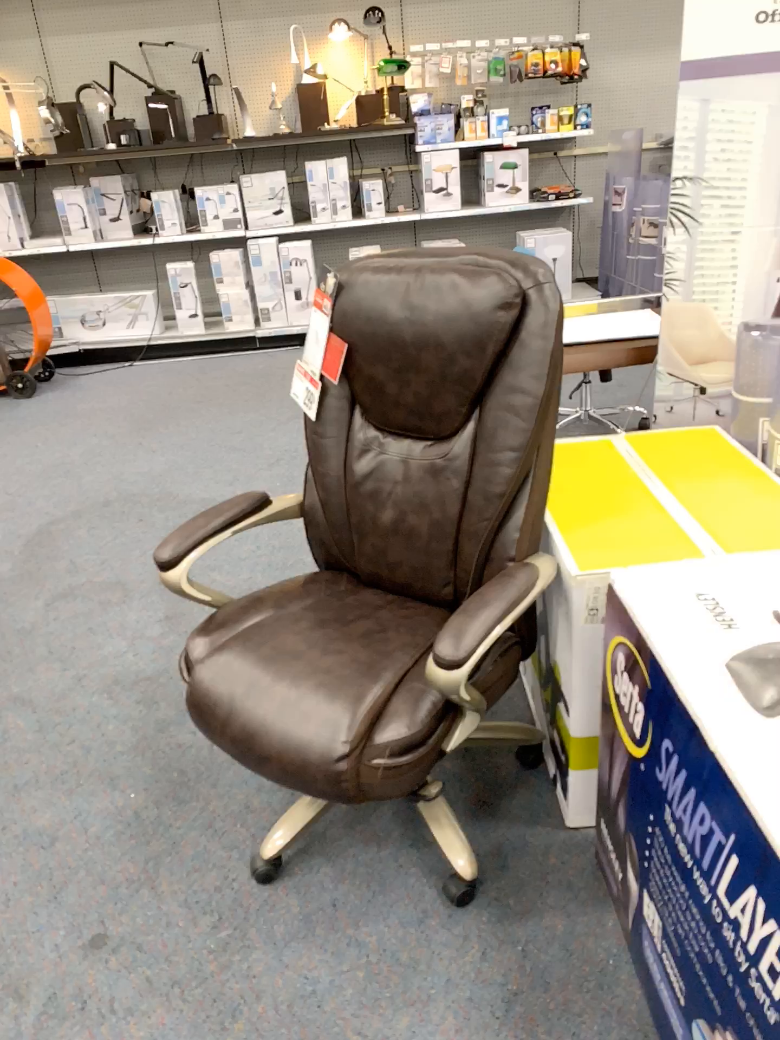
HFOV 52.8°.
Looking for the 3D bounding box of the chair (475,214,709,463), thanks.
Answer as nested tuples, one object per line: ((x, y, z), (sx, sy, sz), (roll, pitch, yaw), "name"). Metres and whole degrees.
((0.822, -0.826, 3.478), (0.824, 0.856, 0.795), (-3, 27, 5), "chair")

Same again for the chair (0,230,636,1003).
((-0.079, 0.068, 1.599), (0.783, 1.104, 0.846), (16, 35, 36), "chair")
